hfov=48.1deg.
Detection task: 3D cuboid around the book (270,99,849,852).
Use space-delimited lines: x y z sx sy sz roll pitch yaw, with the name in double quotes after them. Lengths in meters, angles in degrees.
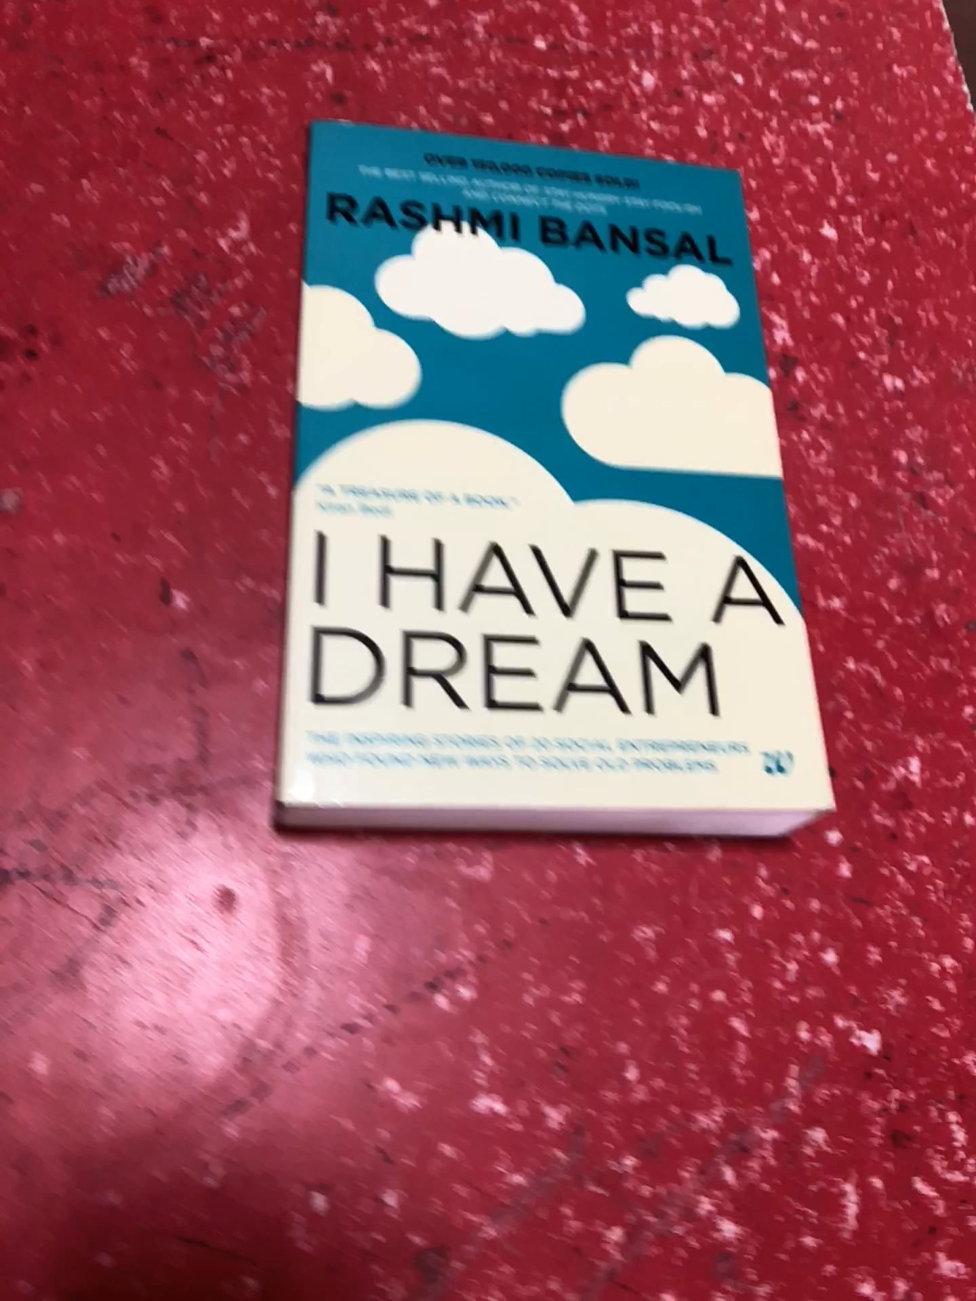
0.013 -0.050 0.288 0.130 0.030 0.200 2 68 -10 "book"
